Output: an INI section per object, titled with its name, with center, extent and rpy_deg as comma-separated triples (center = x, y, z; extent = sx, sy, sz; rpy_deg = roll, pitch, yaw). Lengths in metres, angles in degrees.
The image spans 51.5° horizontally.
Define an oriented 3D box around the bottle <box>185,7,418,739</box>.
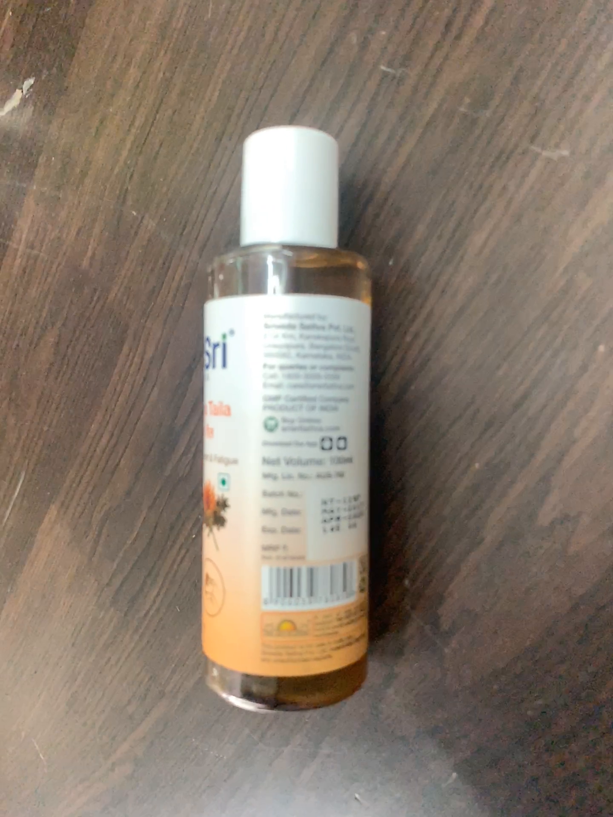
[bottle]
center = -0.003, -0.007, 0.148
extent = 0.040, 0.040, 0.140
rpy_deg = 0, 90, 62
